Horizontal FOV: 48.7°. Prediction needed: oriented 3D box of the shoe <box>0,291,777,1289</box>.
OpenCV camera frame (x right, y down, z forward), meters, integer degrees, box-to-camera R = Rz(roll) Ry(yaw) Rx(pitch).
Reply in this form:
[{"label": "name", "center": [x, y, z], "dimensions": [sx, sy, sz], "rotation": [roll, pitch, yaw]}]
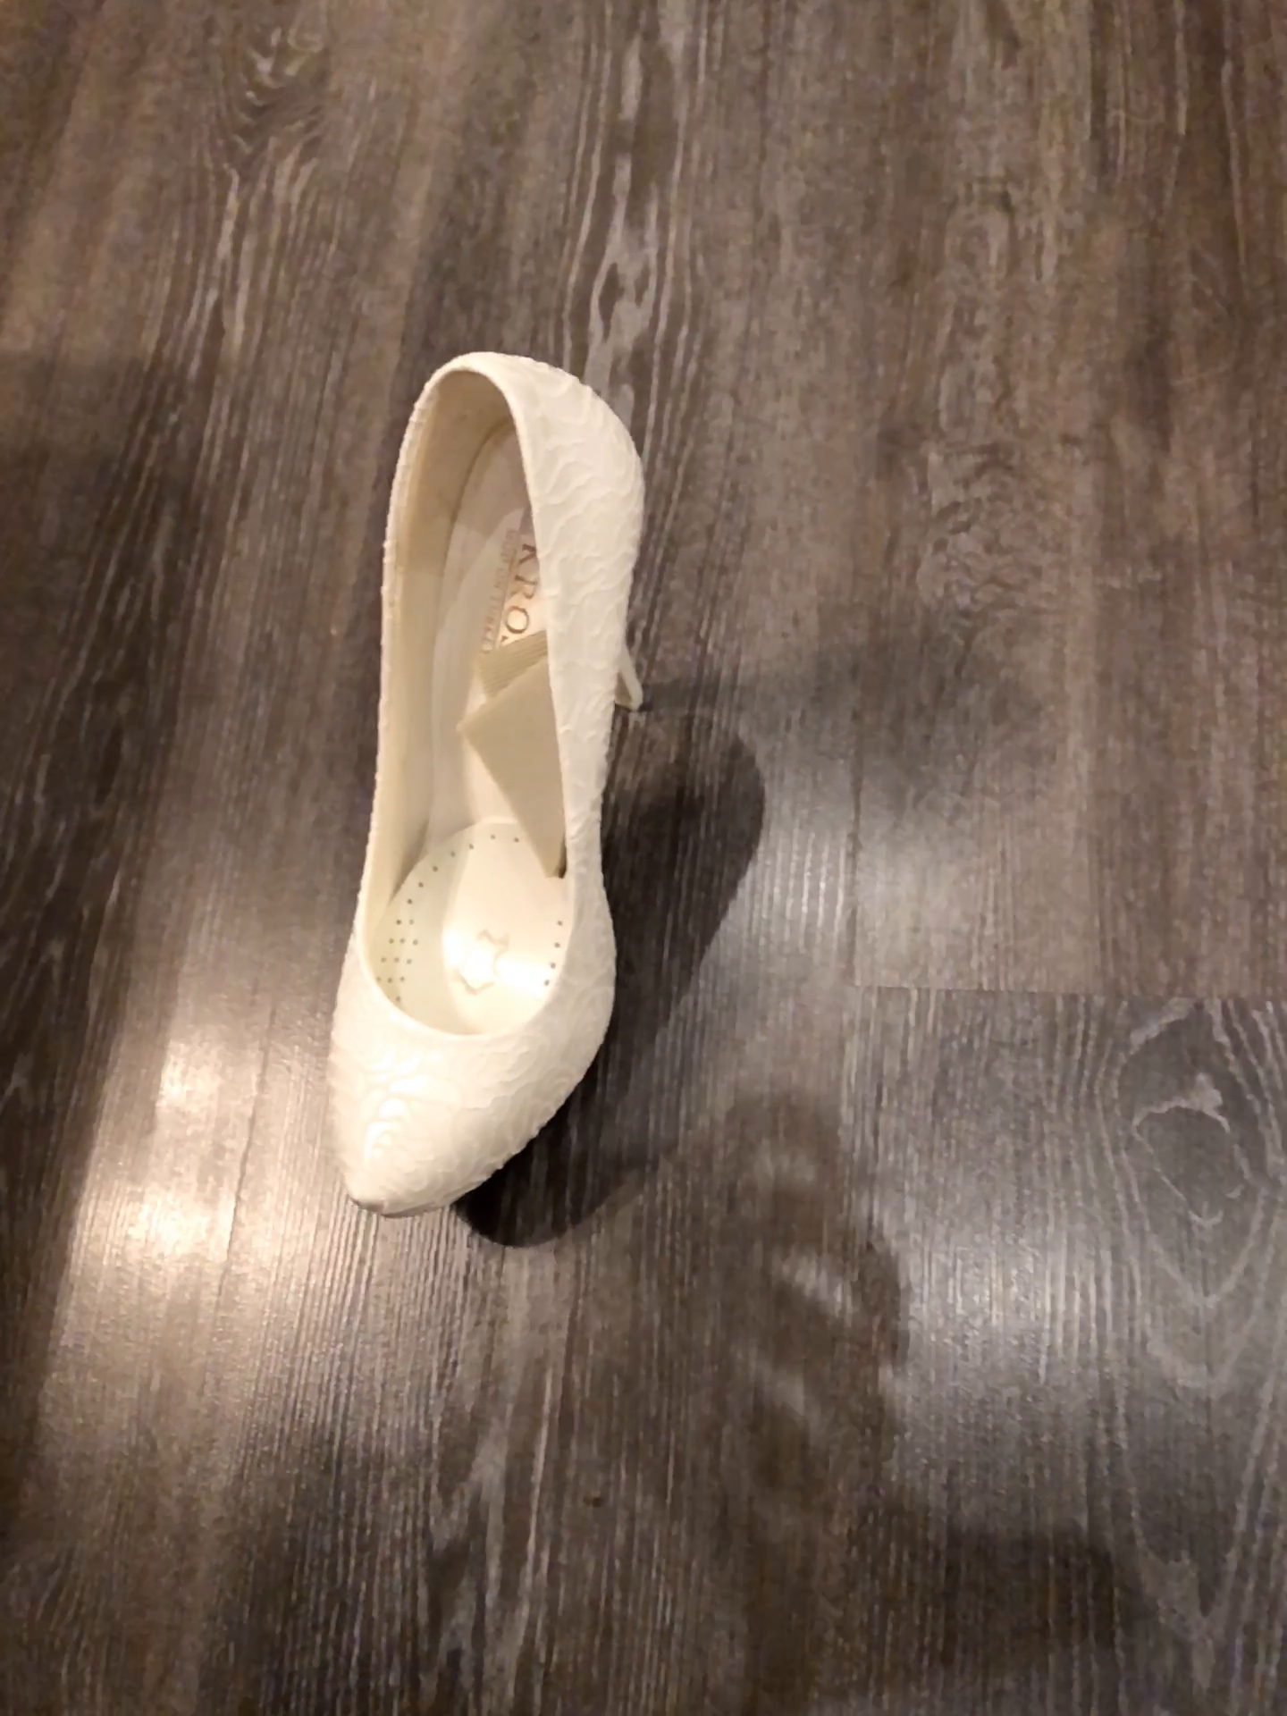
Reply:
[{"label": "shoe", "center": [-0.051, -0.009, 0.380], "dimensions": [0.090, 0.150, 0.210], "rotation": [15, 74, 20]}]
